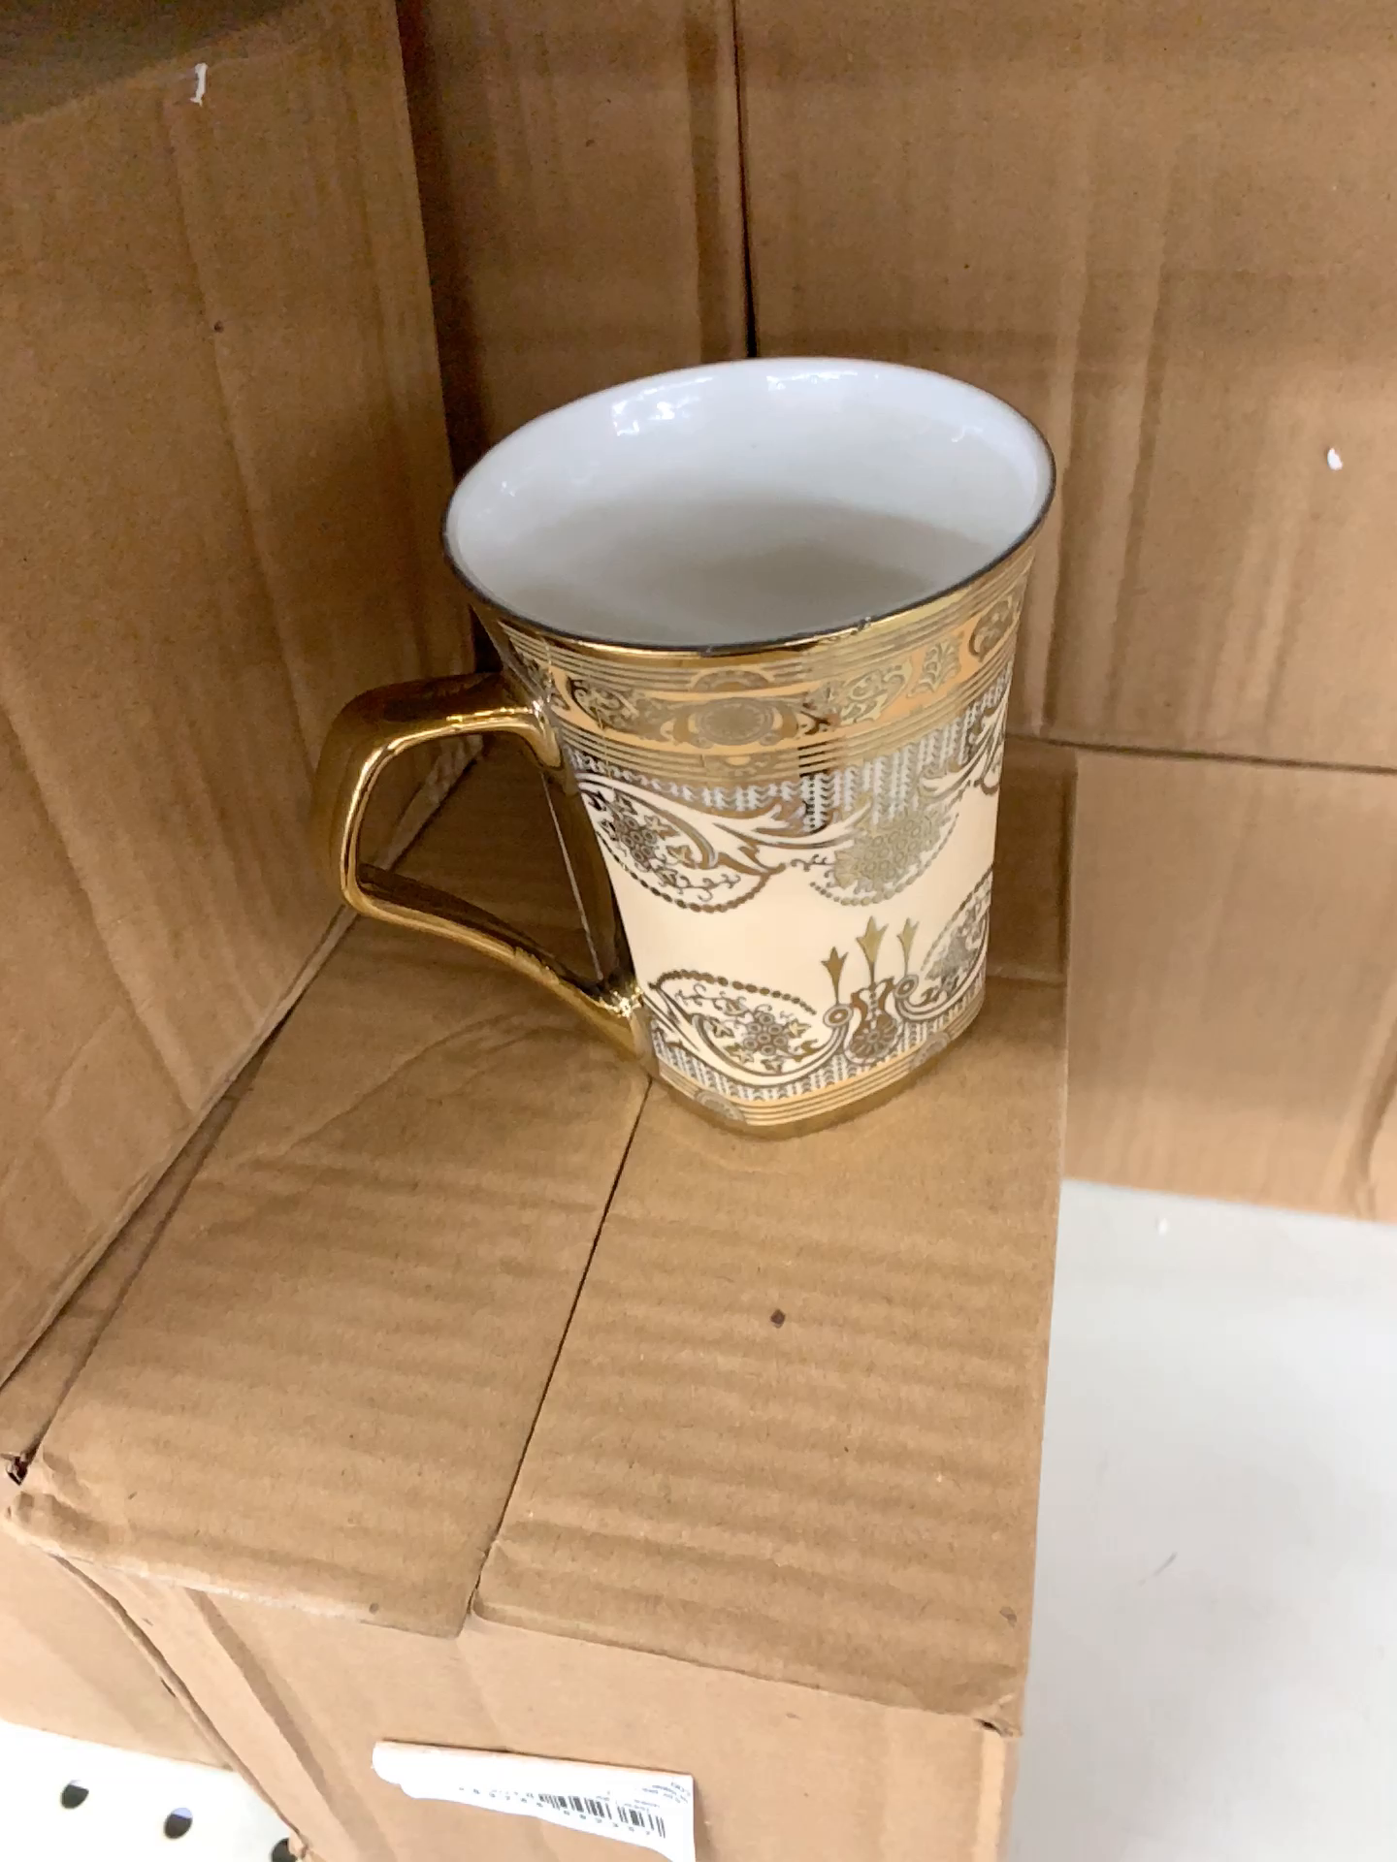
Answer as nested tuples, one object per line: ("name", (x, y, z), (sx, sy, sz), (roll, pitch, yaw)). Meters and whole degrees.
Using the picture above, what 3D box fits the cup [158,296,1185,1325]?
("cup", (-0.004, -0.022, 0.218), (0.105, 0.092, 0.084), (-24, 46, -18))
